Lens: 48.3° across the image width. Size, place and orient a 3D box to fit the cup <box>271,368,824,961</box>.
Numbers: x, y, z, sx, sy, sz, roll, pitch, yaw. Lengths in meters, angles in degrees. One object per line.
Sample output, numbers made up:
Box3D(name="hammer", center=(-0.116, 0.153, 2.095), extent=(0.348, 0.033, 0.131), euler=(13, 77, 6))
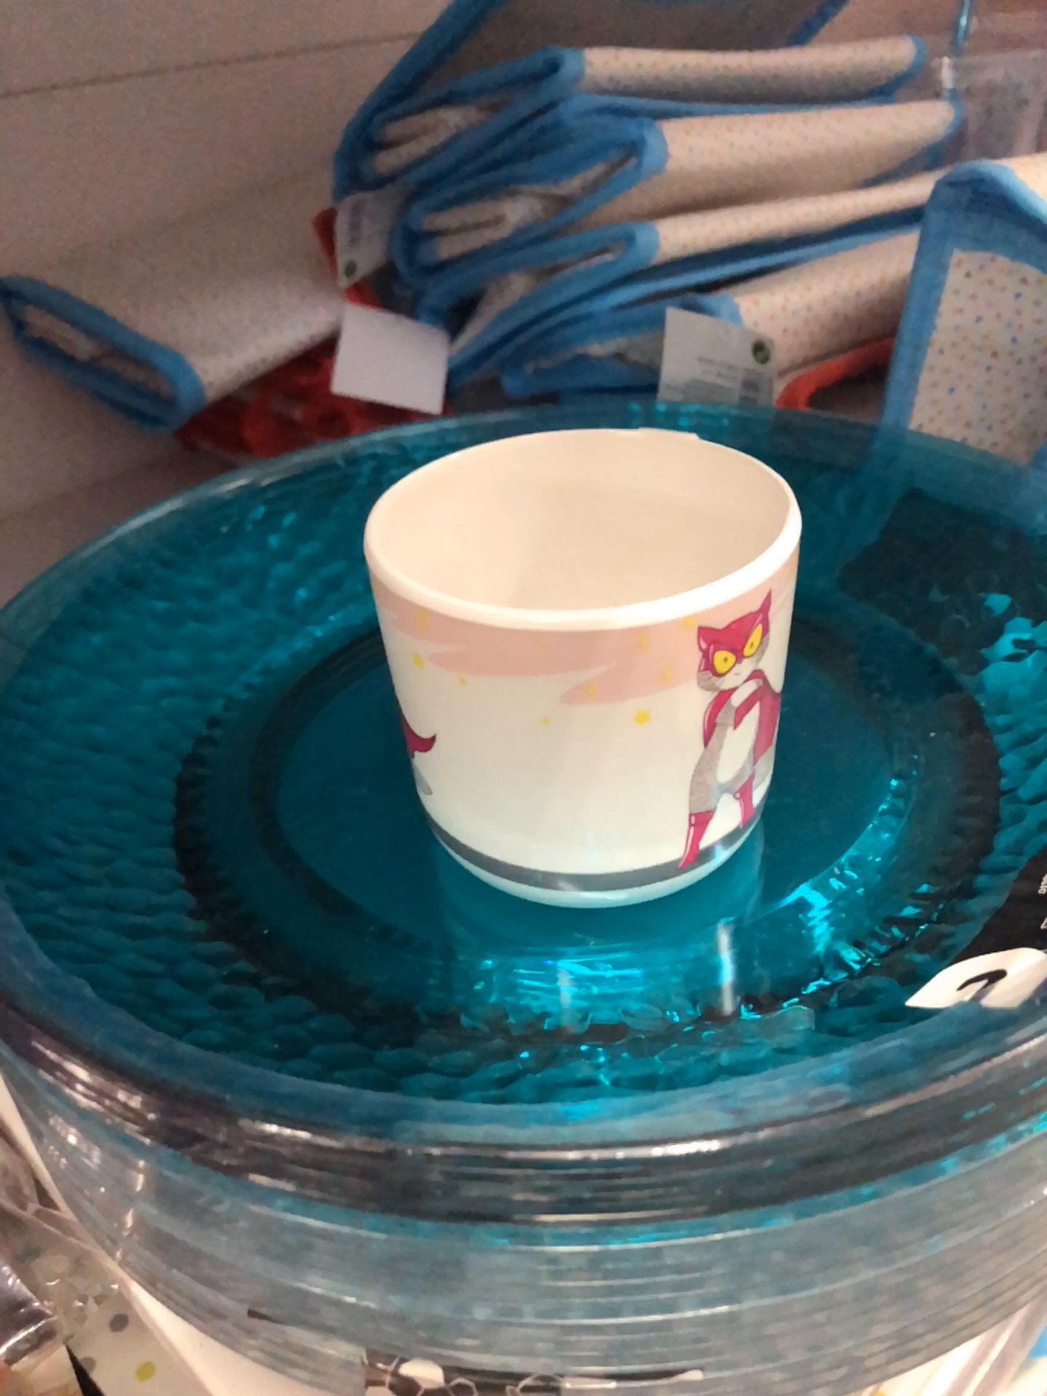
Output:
Box3D(name="cup", center=(0.014, -0.015, 0.226), extent=(0.075, 0.064, 0.103), euler=(6, 35, 15))
